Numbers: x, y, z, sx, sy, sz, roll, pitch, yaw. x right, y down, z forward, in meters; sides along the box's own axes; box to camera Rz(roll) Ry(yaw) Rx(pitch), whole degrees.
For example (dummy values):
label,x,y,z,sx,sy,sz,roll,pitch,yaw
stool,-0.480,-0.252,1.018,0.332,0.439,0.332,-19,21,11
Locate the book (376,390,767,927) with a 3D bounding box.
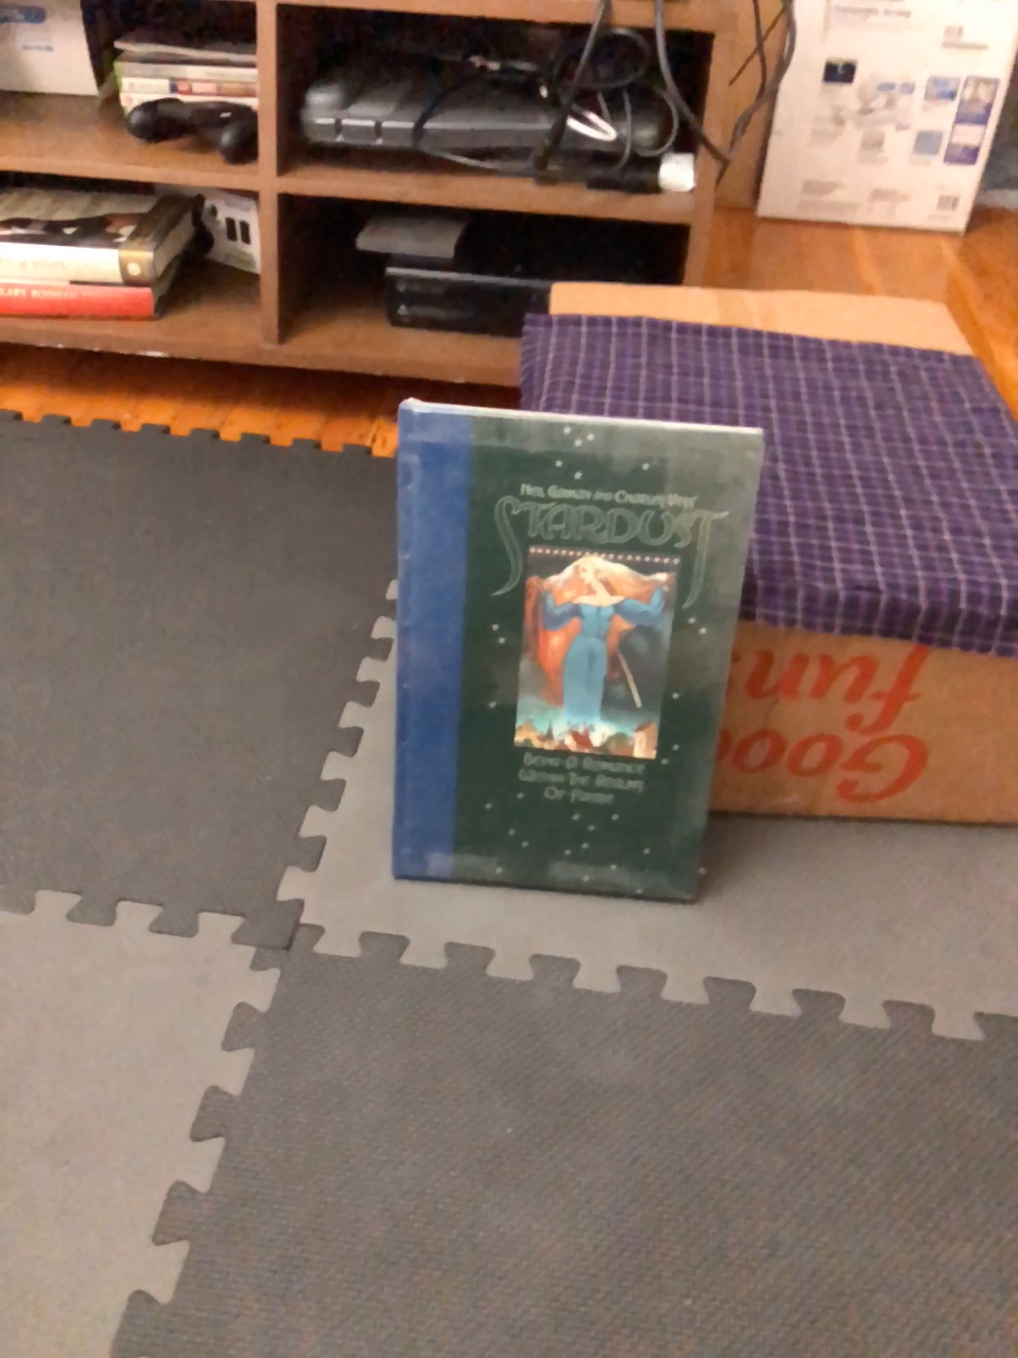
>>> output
label,x,y,z,sx,sy,sz,roll,pitch,yaw
book,0.026,0.000,0.680,0.210,0.329,0.020,4,24,3
